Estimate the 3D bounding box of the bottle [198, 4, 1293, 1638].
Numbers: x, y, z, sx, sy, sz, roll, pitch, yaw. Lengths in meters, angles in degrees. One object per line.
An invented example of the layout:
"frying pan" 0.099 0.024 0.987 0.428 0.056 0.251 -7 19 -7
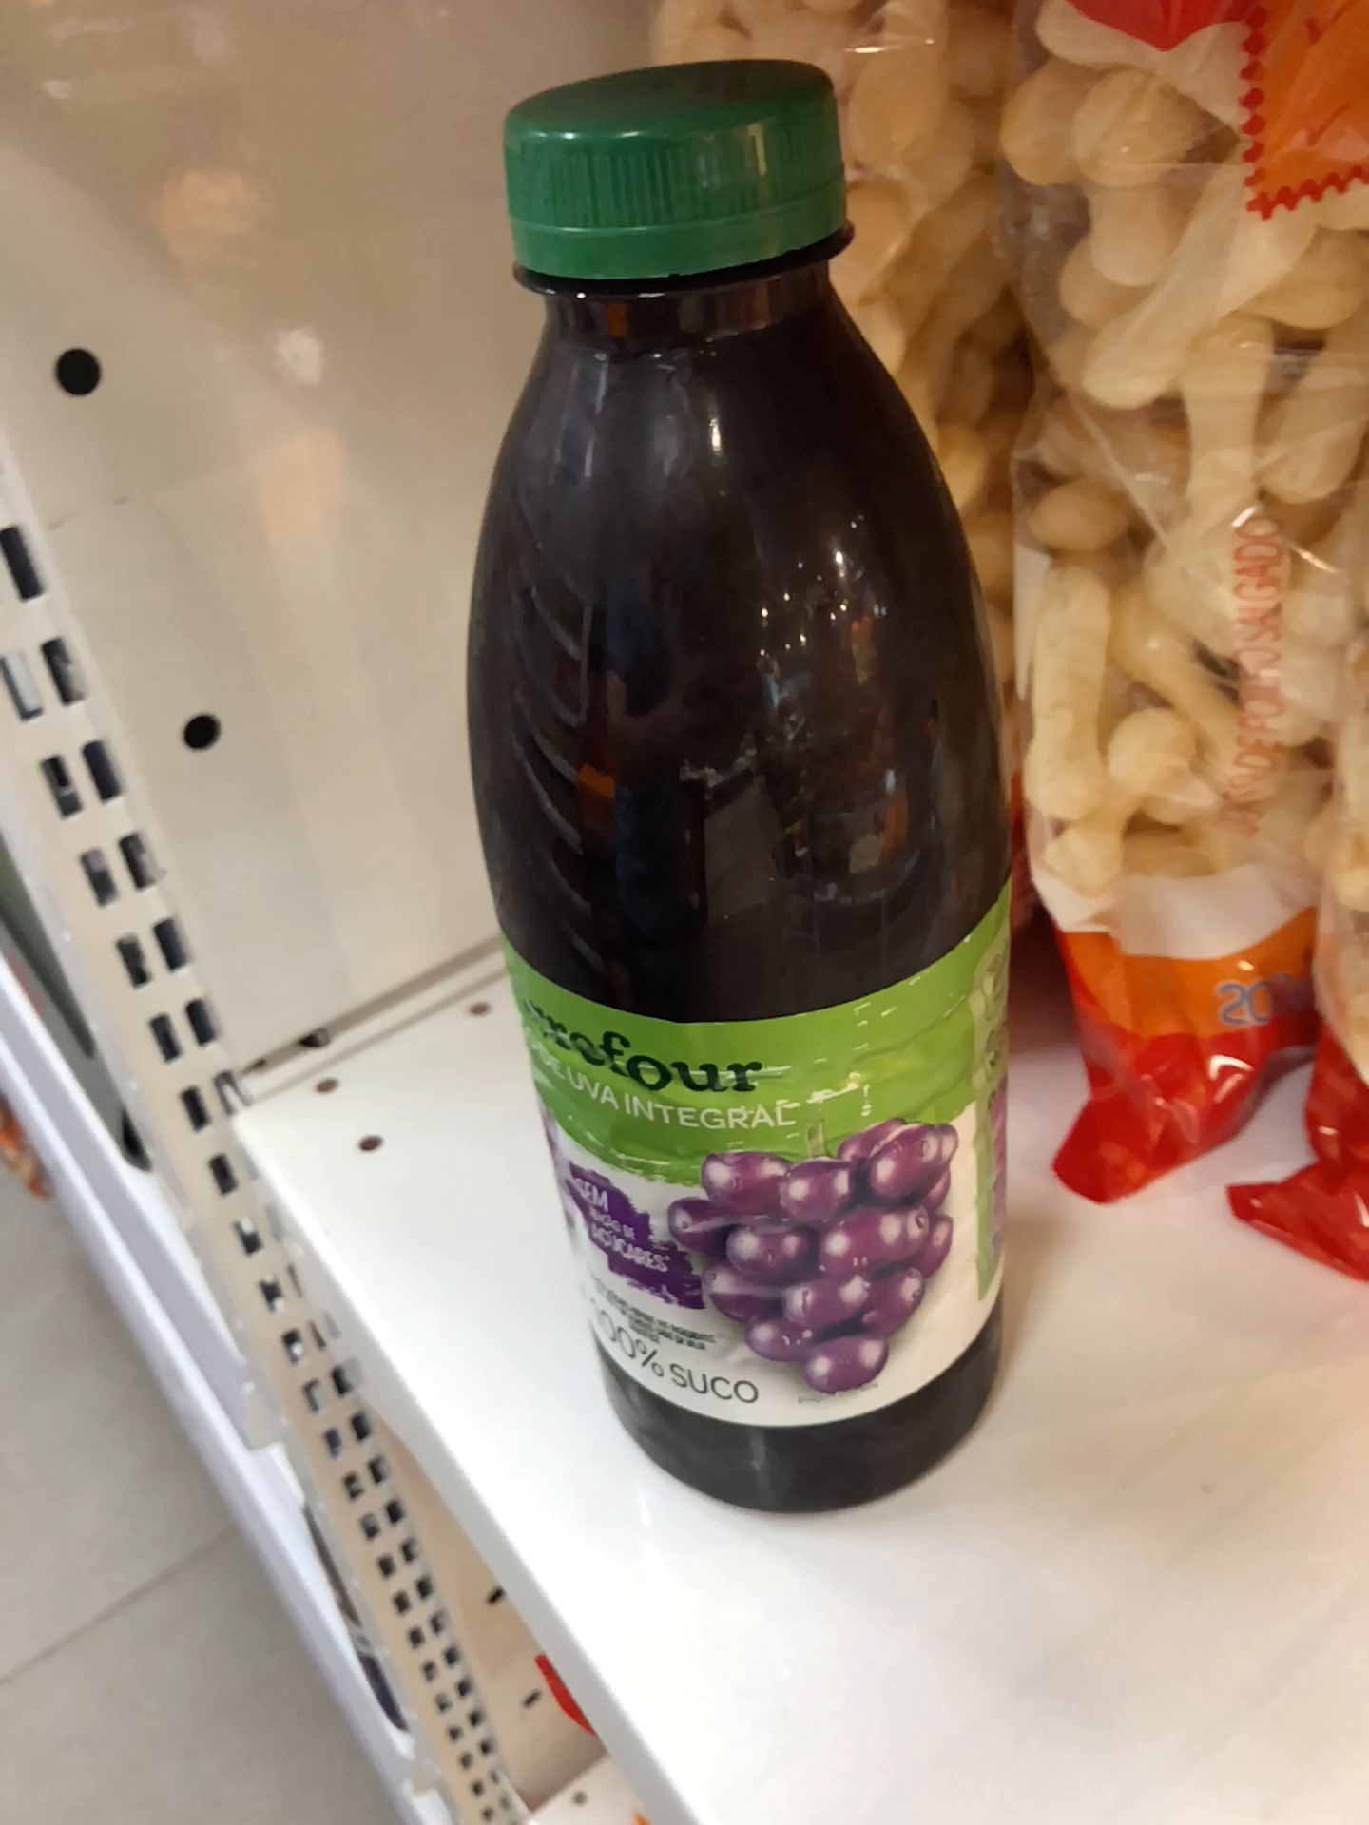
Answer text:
"bottle" 0.018 -0.002 0.238 0.090 0.228 0.080 21 46 31
